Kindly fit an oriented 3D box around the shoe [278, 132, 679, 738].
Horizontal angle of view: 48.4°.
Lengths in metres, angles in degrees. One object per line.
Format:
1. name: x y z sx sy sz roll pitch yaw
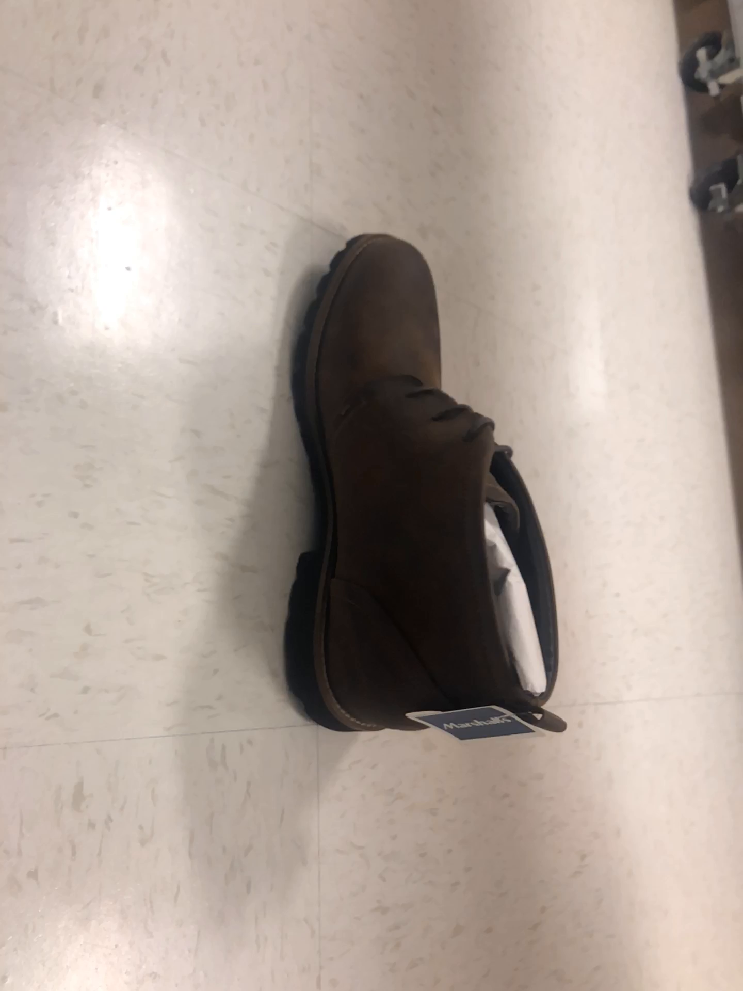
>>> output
1. shoe: 0.054 -0.014 0.459 0.116 0.166 0.283 17 68 -44
